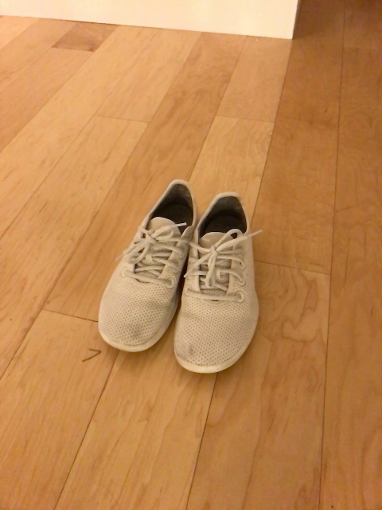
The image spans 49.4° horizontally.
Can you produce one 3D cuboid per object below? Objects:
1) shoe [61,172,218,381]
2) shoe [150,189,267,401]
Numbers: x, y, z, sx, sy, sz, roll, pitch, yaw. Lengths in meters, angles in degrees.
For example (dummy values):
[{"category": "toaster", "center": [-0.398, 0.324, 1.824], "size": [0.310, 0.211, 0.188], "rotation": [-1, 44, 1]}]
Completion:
[{"category": "shoe", "center": [-0.052, 0.011, 0.581], "size": [0.110, 0.079, 0.292], "rotation": [12, 50, 12]}, {"category": "shoe", "center": [0.035, 0.036, 0.562], "size": [0.110, 0.079, 0.282], "rotation": [7, 49, 7]}]
